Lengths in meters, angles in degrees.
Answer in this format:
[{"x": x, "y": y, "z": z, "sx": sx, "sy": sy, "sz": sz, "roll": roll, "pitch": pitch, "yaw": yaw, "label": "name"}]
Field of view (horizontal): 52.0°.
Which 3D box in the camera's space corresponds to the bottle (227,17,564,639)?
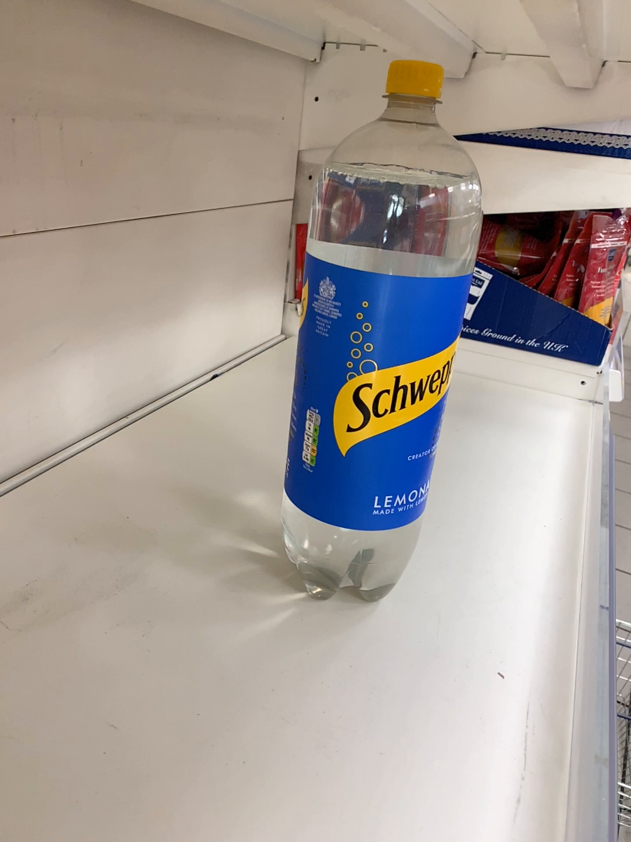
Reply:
[{"x": 0.031, "y": -0.047, "z": 0.400, "sx": 0.110, "sy": 0.327, "sz": 0.111, "roll": 6, "pitch": 24, "yaw": -3, "label": "bottle"}]
